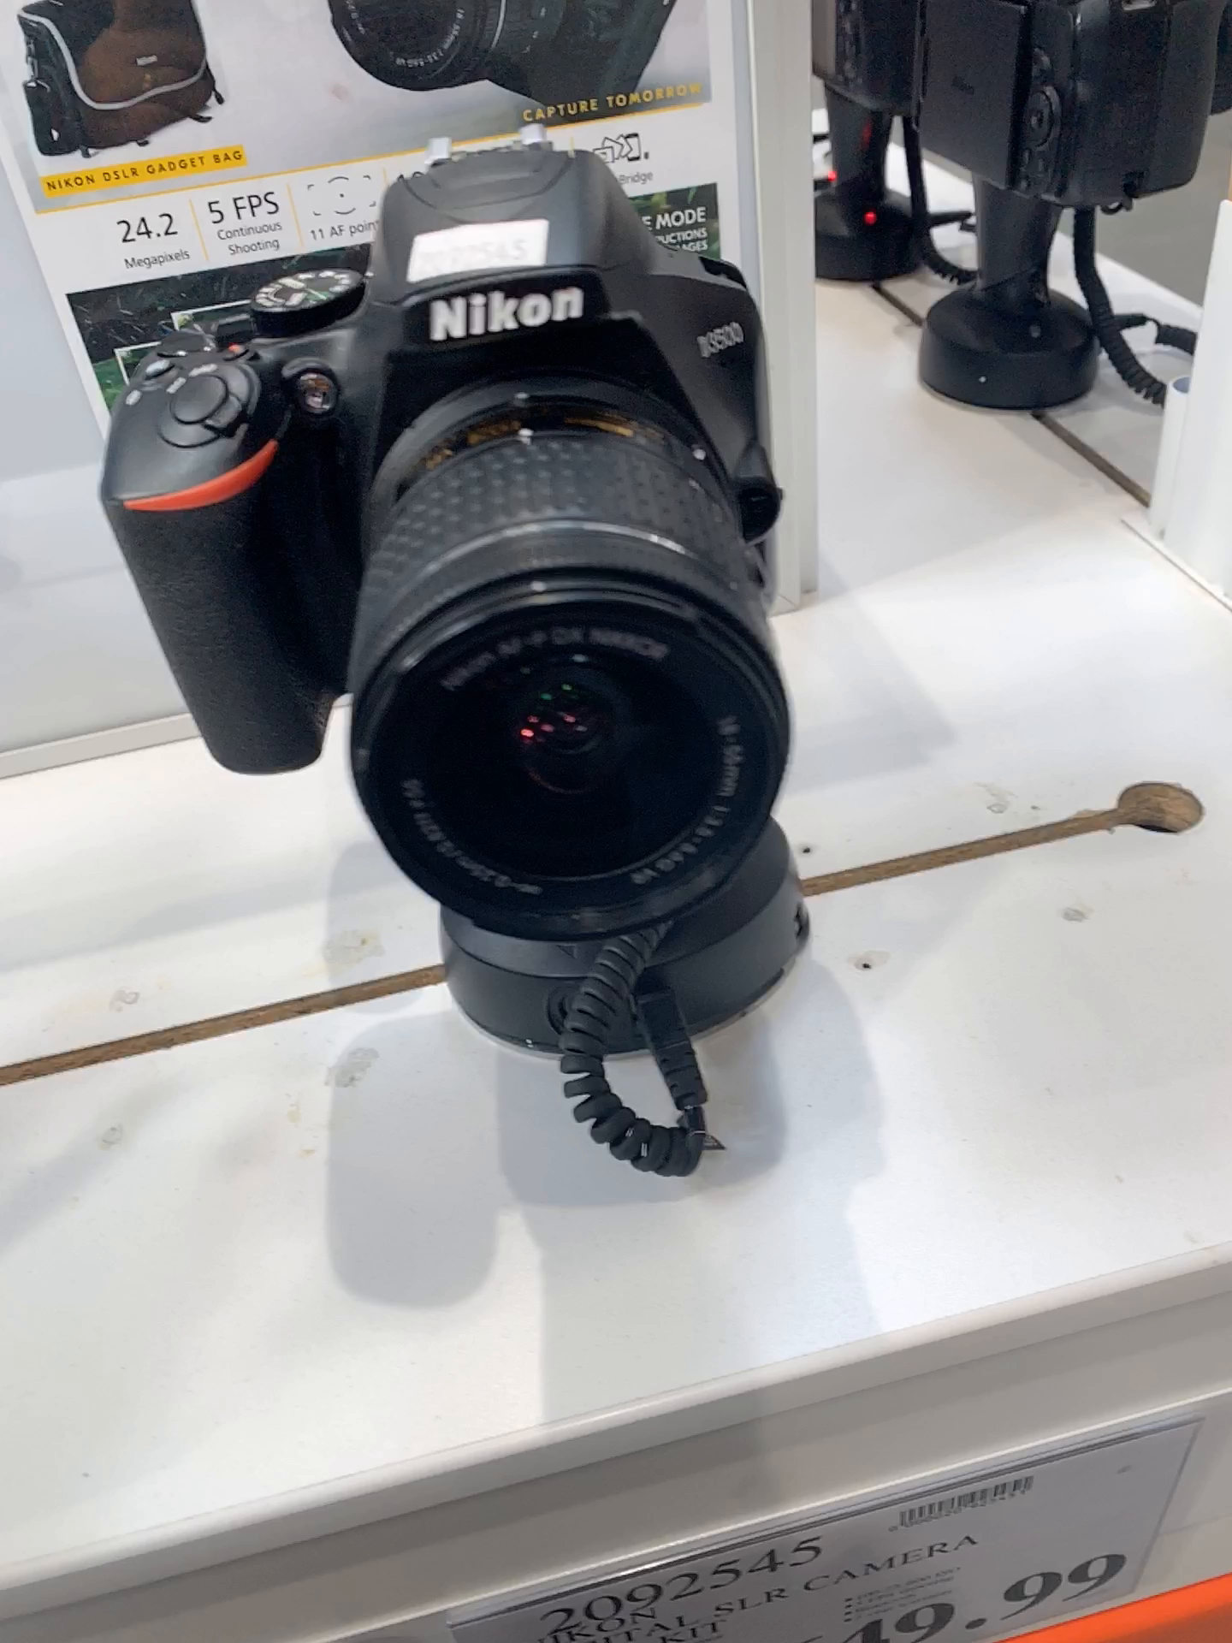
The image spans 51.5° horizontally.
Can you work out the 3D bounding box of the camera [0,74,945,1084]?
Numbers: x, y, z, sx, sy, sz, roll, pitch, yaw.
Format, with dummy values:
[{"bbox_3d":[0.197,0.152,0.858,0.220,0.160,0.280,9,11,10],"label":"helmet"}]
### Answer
[{"bbox_3d":[-0.025,-0.047,0.209,0.116,0.099,0.121,-11,39,-2],"label":"camera"}]
